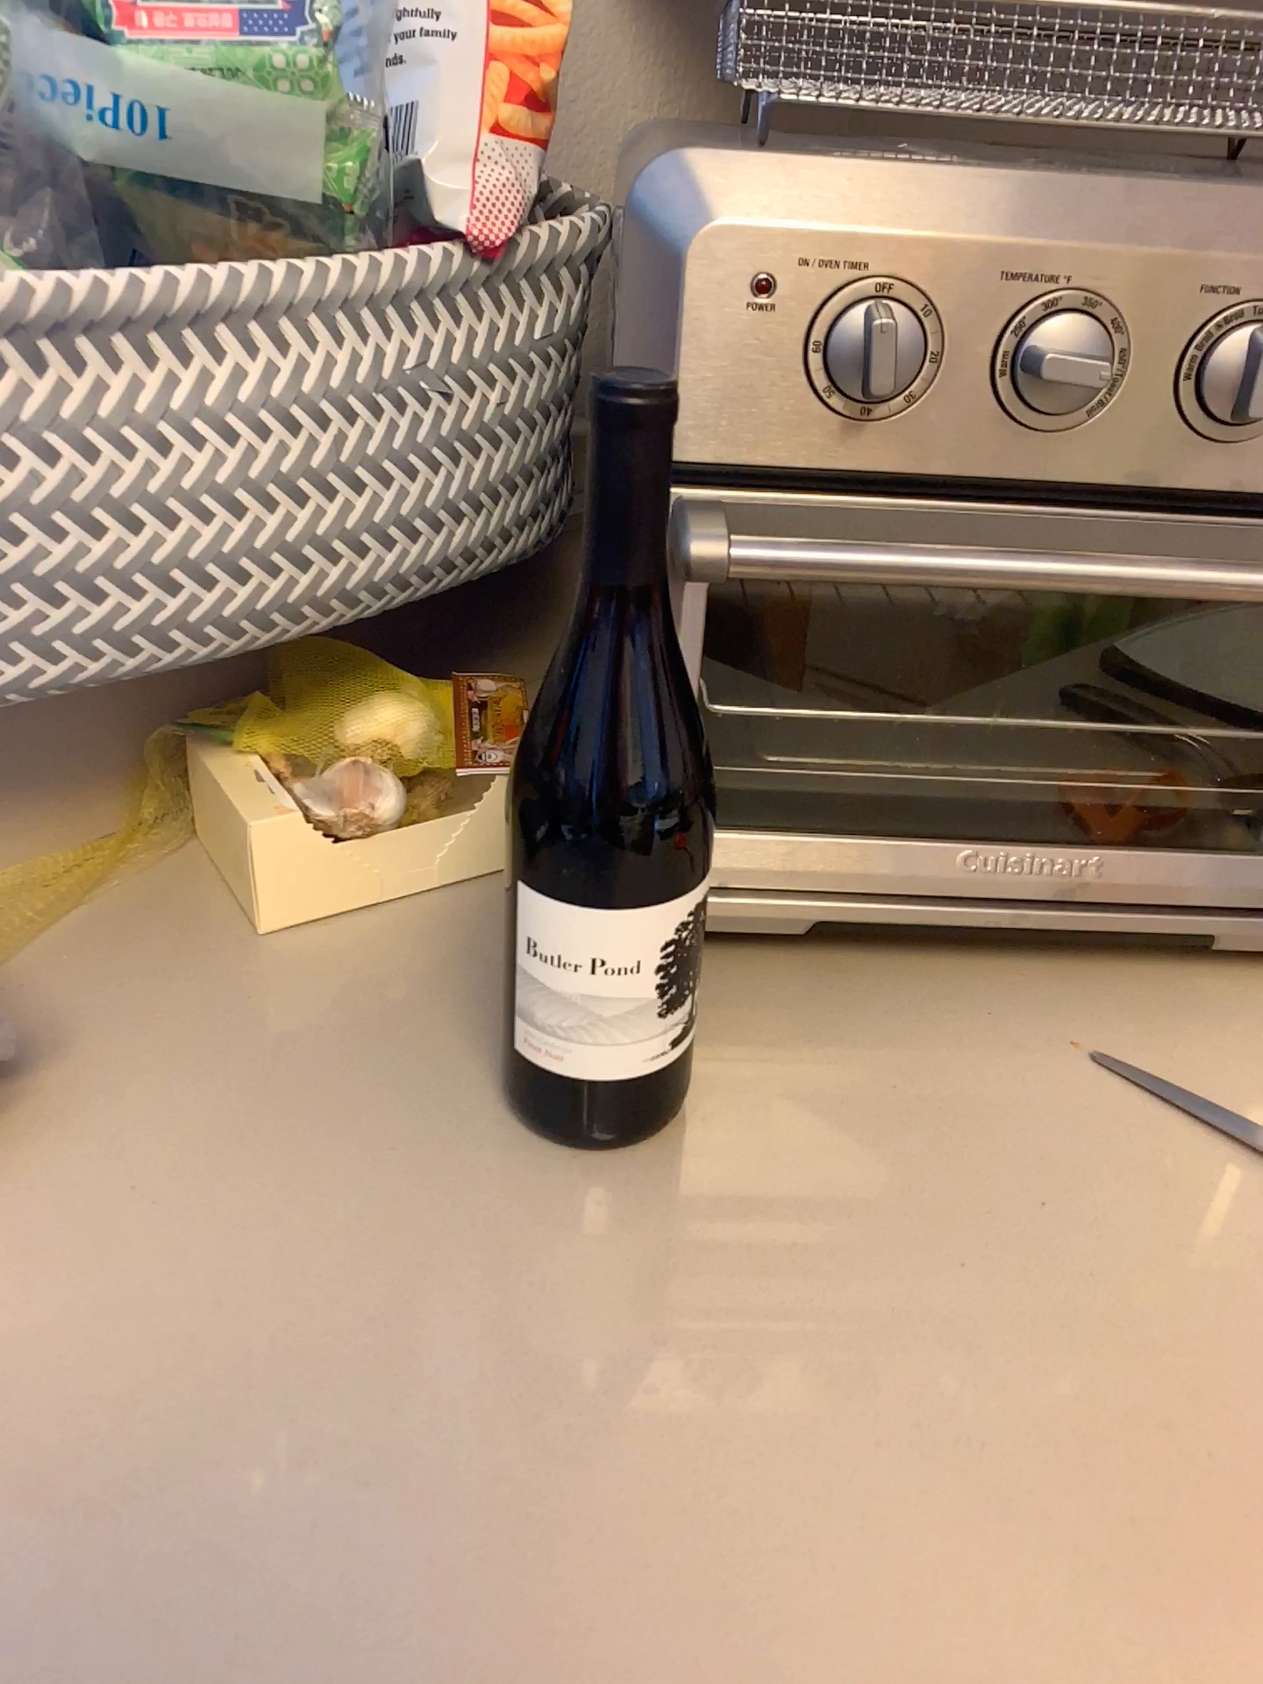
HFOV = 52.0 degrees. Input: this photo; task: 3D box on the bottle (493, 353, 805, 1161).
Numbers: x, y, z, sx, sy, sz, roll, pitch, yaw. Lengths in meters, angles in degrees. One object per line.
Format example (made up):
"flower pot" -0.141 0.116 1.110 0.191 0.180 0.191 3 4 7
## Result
"bottle" -0.005 -0.019 0.444 0.080 0.268 0.070 -2 30 -10
